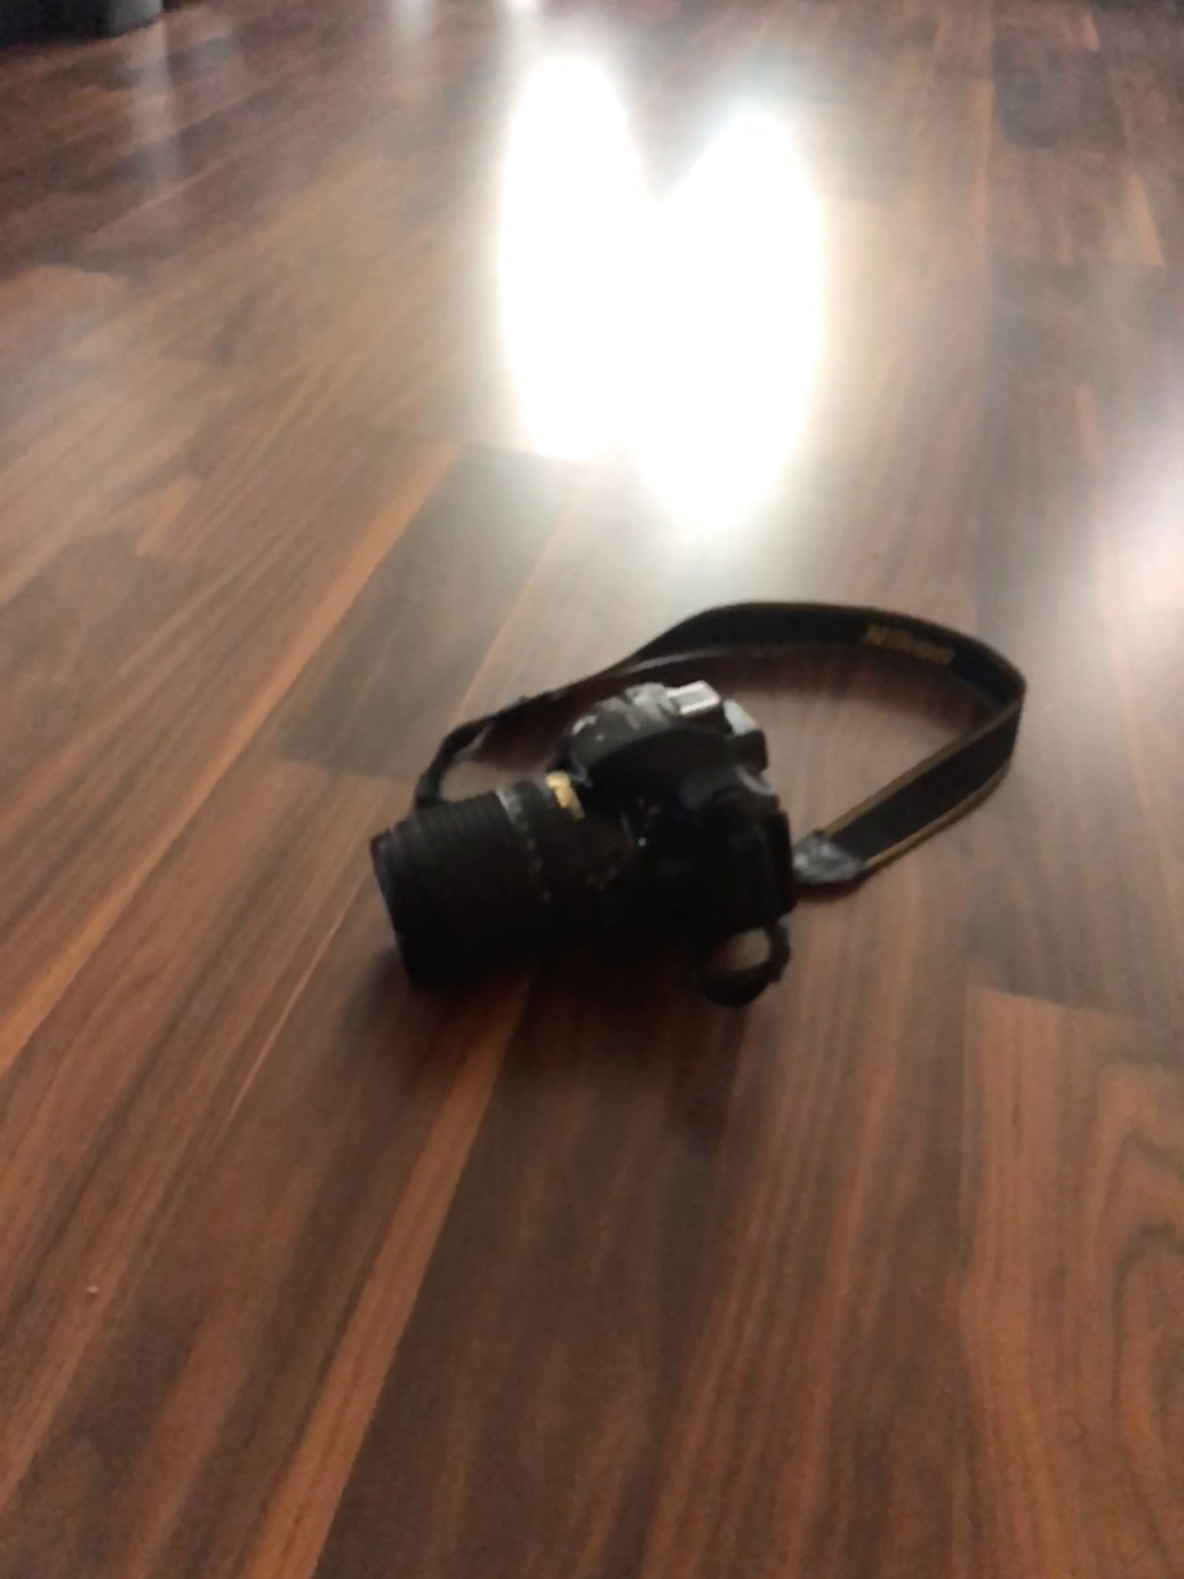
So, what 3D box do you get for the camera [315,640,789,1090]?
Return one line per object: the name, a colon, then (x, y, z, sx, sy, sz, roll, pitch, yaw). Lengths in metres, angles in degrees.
camera: (-0.020, 0.032, 0.615, 0.180, 0.129, 0.110, -14, 42, -15)
